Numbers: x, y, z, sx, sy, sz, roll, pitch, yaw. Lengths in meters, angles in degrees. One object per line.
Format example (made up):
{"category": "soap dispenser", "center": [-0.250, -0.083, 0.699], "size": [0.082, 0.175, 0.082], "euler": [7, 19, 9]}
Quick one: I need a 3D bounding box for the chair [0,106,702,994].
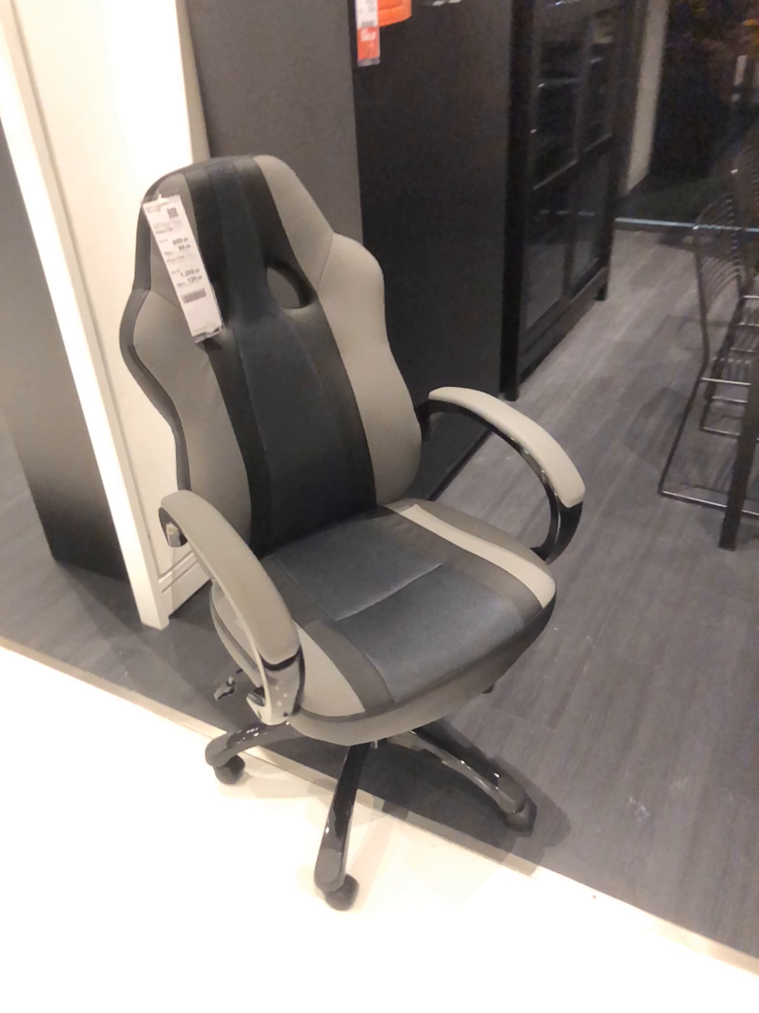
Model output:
{"category": "chair", "center": [-0.074, 0.012, 1.474], "size": [0.712, 1.161, 0.784], "euler": [-24, 38, -27]}
